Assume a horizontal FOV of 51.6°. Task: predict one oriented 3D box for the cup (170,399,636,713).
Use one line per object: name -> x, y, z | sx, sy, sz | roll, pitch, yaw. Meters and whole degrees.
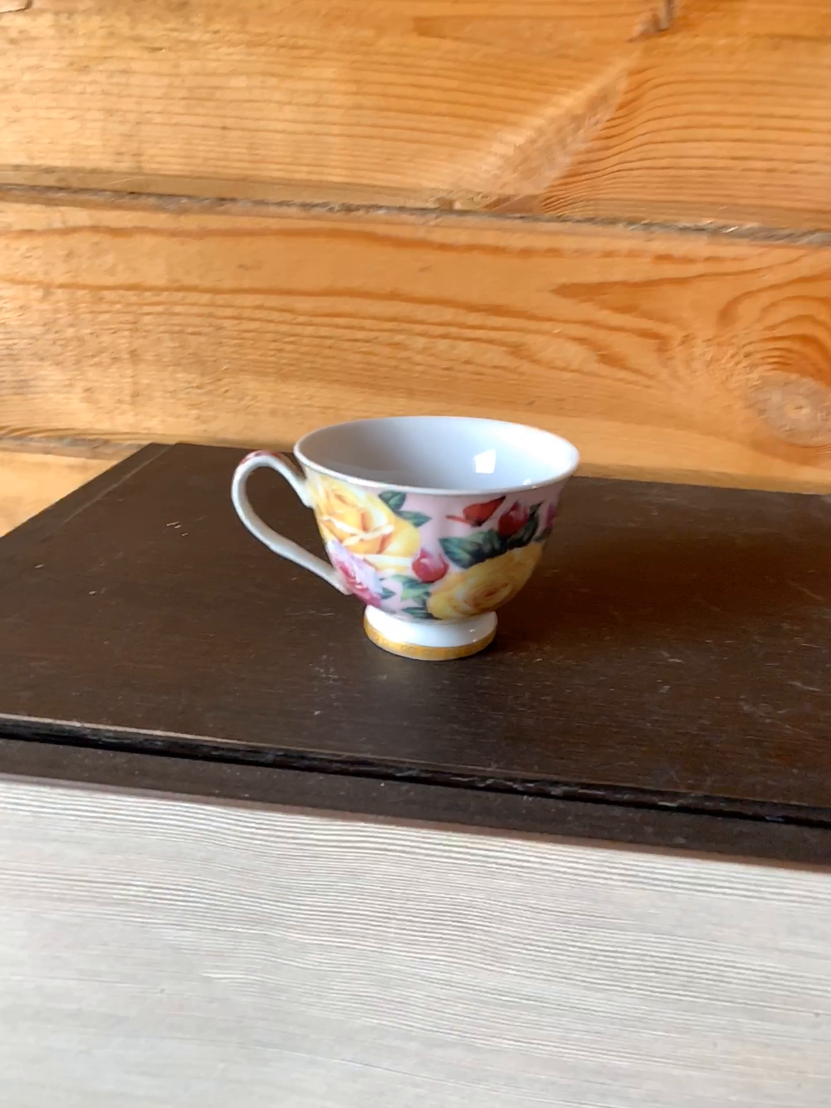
cup -> -0.001, -0.007, 0.277 | 0.120, 0.060, 0.101 | 5, 20, 4
